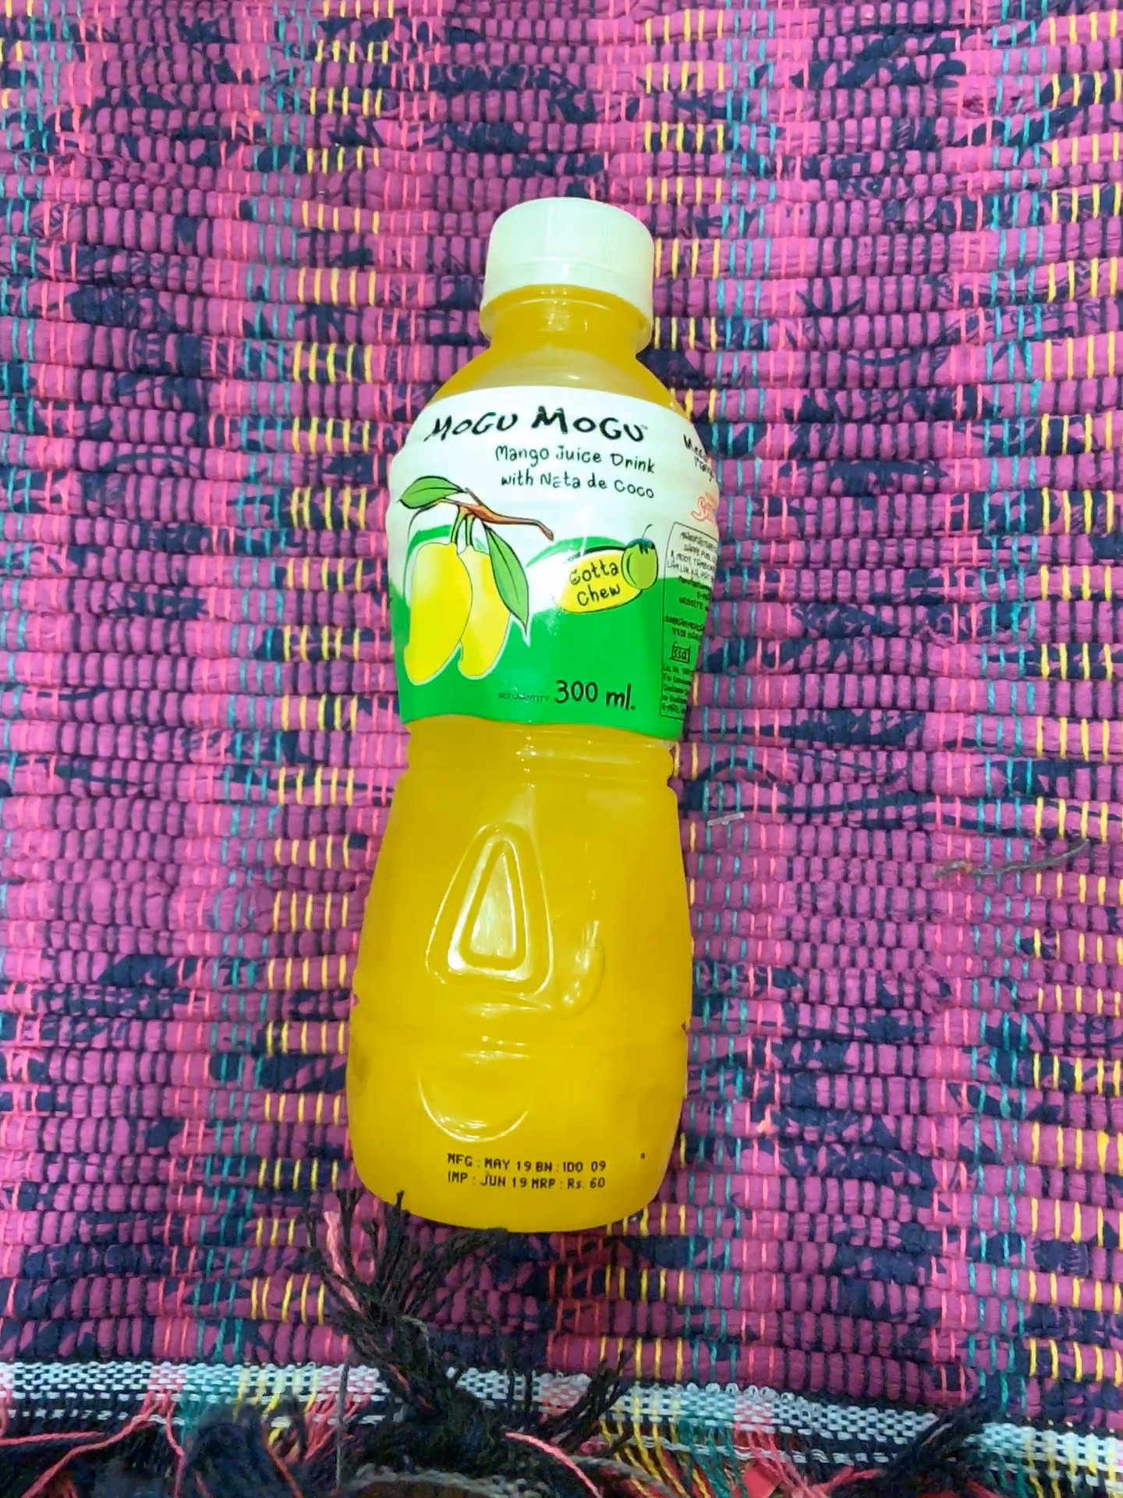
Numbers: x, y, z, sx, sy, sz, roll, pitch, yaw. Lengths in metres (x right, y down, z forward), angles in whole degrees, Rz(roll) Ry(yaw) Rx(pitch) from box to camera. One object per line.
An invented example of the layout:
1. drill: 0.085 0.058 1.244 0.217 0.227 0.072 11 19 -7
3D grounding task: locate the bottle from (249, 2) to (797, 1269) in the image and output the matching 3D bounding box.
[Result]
1. bottle: -0.004 -0.015 0.179 0.060 0.060 0.160 3 85 0
